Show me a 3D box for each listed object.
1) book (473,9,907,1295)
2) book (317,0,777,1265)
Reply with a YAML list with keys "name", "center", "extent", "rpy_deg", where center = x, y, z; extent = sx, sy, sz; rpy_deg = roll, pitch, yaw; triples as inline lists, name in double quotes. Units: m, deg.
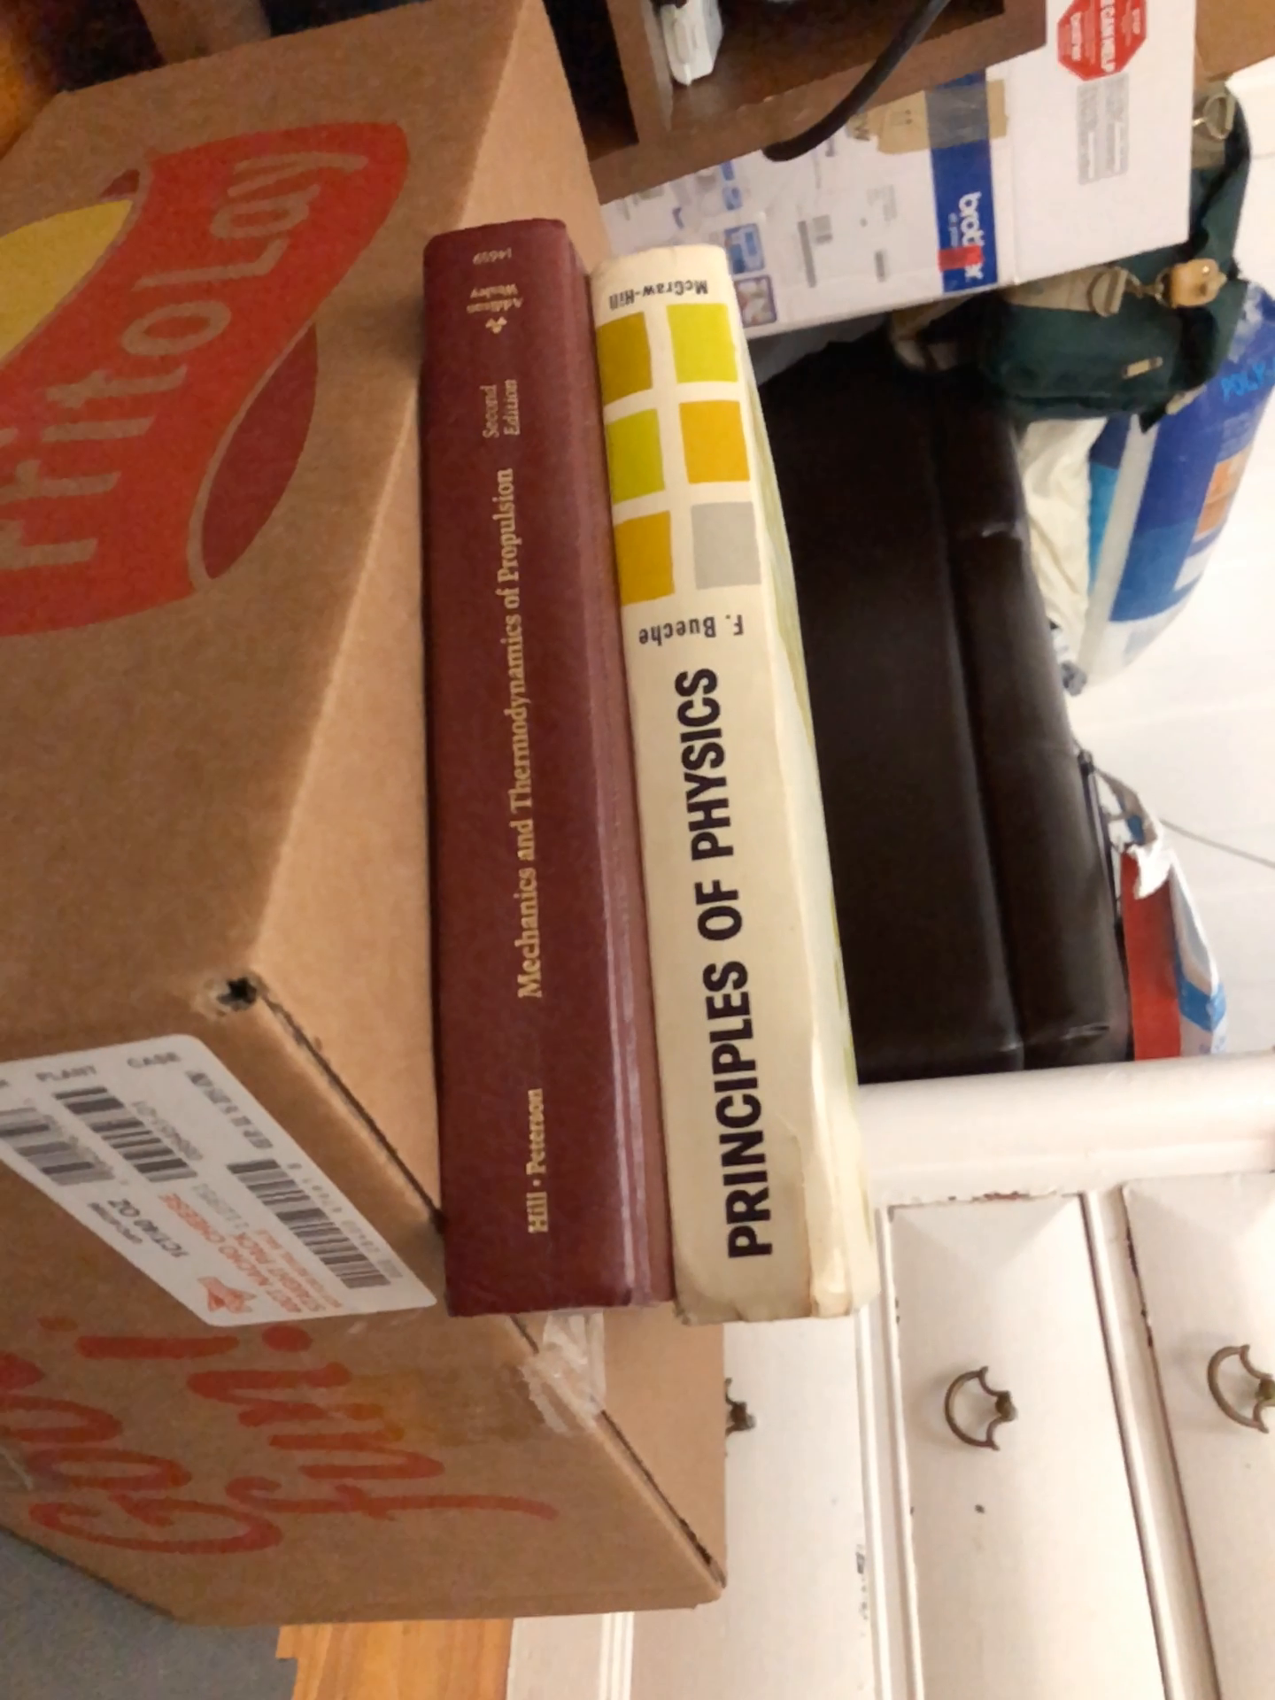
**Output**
- name: "book"
  center: [0.019, -0.028, 0.342]
  extent: [0.180, 0.040, 0.250]
  rpy_deg: [46, 36, -69]
- name: "book"
  center: [-0.016, -0.035, 0.339]
  extent: [0.180, 0.040, 0.250]
  rpy_deg: [51, 32, -67]
